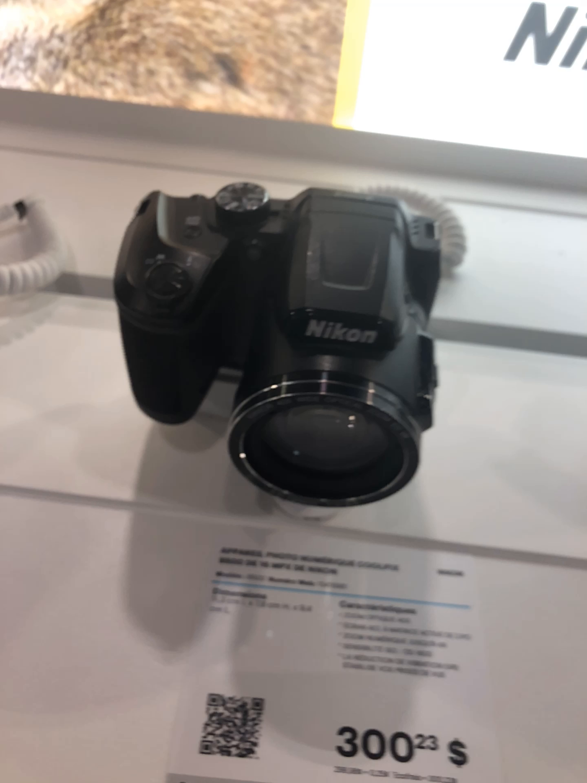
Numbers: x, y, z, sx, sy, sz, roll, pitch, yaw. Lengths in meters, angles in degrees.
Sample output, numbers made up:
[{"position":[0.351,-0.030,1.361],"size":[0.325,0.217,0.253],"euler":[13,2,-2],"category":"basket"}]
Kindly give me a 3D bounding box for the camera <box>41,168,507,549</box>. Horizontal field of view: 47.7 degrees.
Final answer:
[{"position":[-0.003,-0.013,0.211],"size":[0.111,0.069,0.085],"euler":[7,44,1],"category":"camera"}]
